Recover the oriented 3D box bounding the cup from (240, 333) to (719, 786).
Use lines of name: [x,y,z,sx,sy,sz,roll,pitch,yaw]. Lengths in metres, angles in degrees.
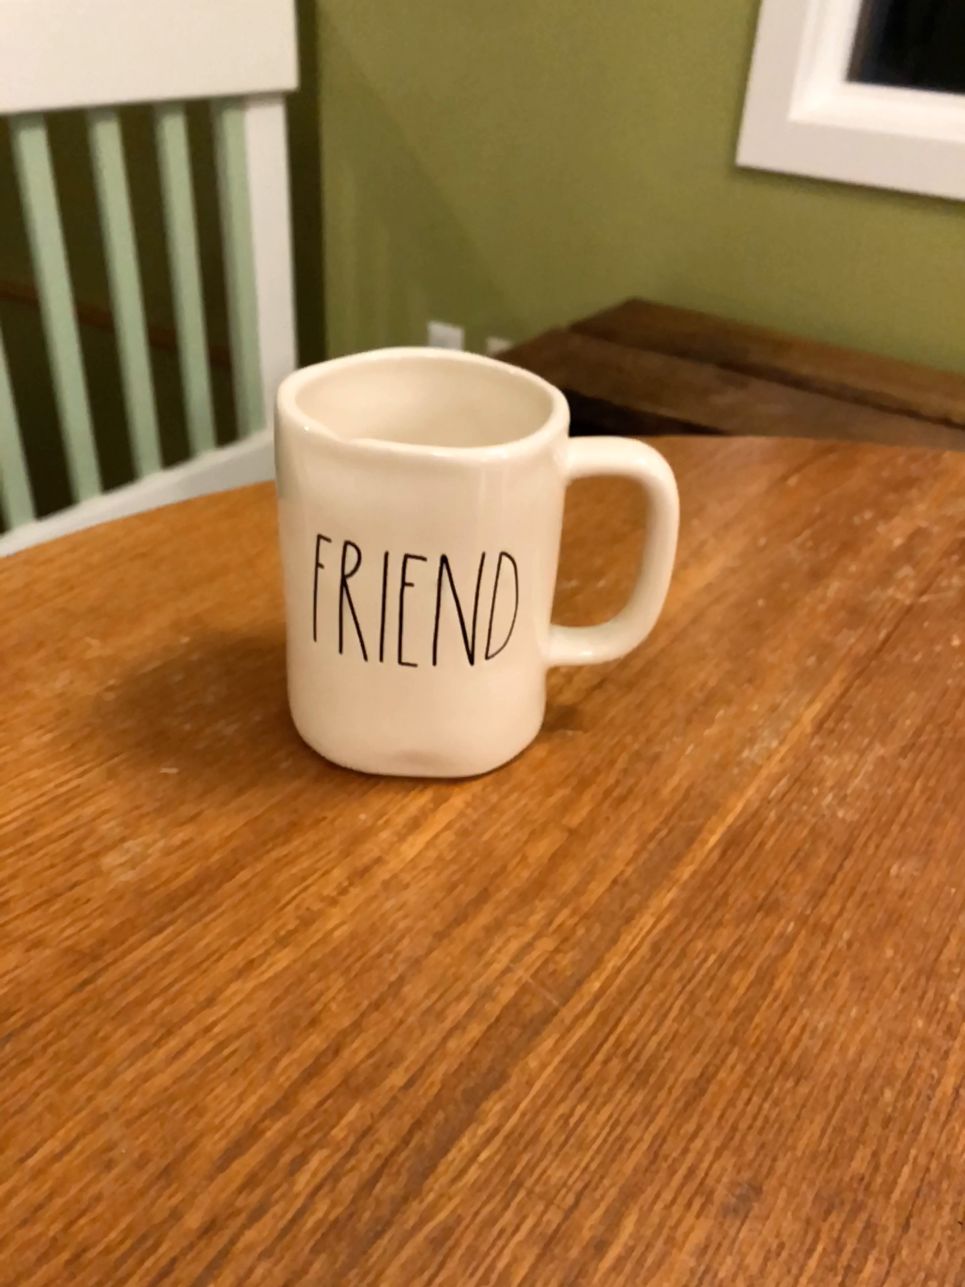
cup: [-0.004,-0.028,0.344,0.124,0.114,0.084,2,32,-2]
